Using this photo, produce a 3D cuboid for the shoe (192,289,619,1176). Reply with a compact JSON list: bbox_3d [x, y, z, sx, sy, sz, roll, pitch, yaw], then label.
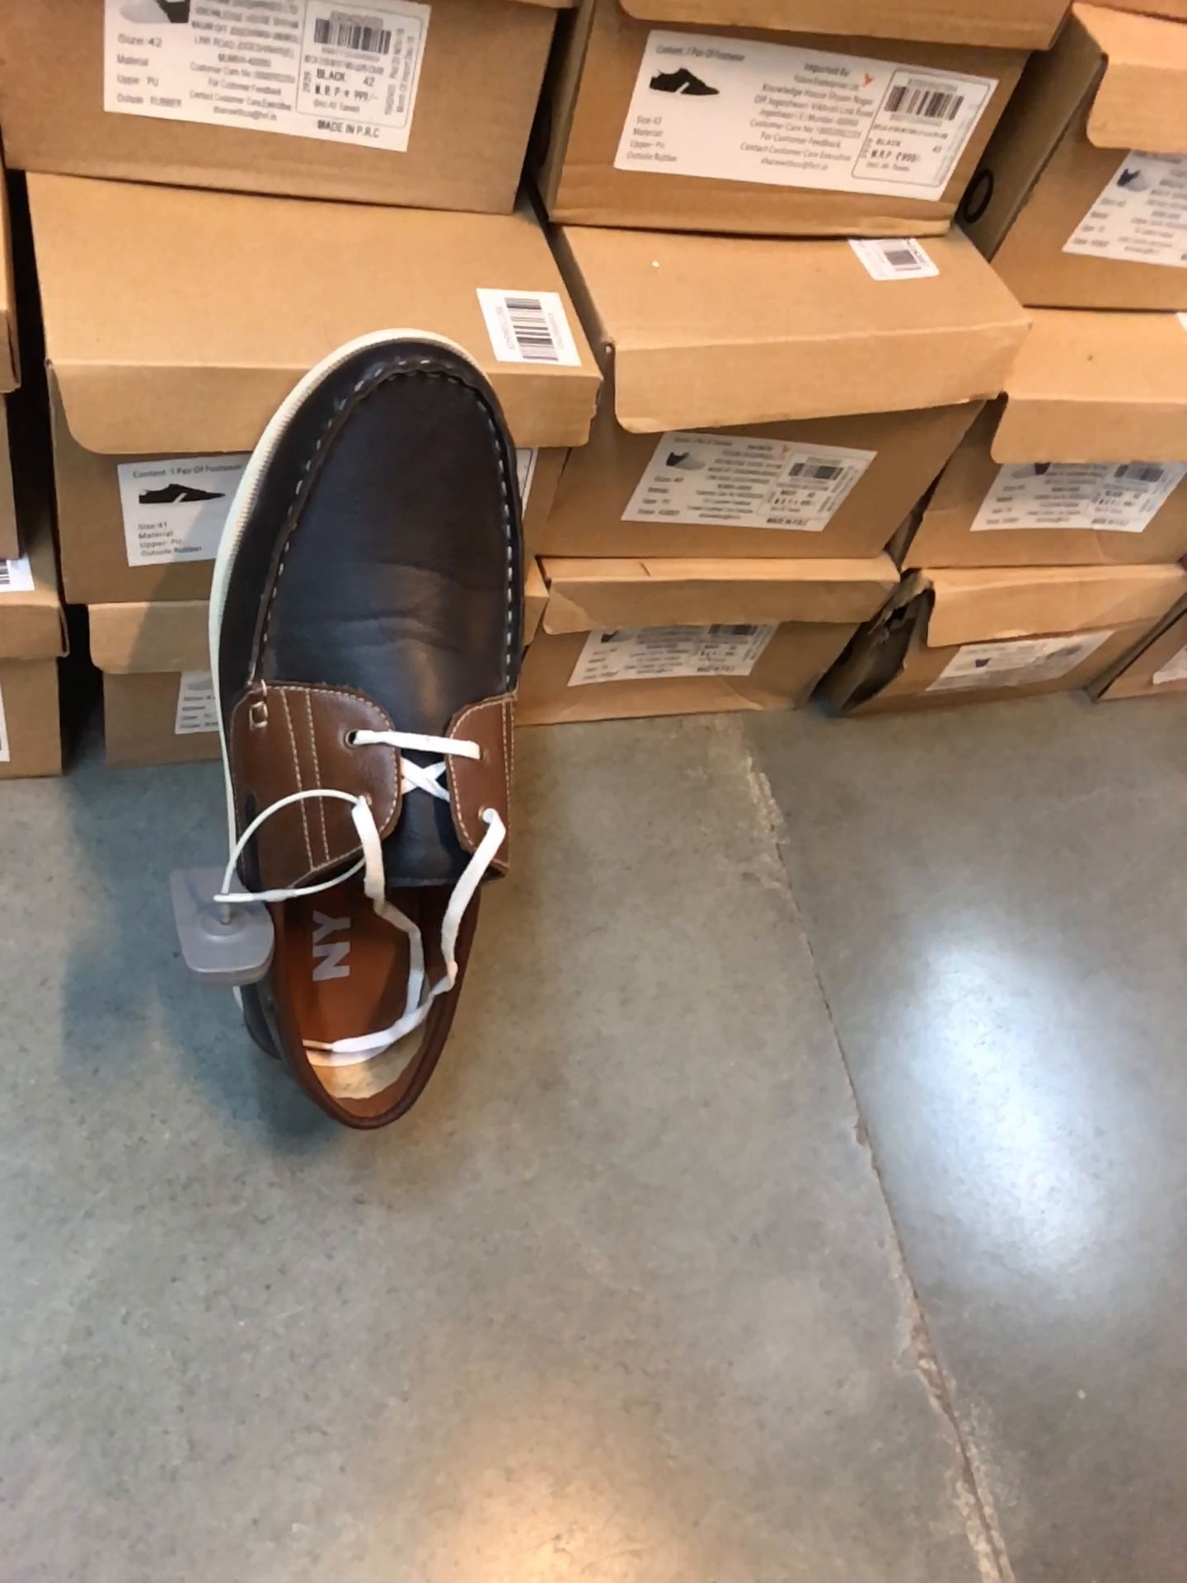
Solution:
[{"bbox_3d":[-0.074,-0.018,0.435,0.102,0.264,0.099,0,21,-21],"label":"shoe"}]
